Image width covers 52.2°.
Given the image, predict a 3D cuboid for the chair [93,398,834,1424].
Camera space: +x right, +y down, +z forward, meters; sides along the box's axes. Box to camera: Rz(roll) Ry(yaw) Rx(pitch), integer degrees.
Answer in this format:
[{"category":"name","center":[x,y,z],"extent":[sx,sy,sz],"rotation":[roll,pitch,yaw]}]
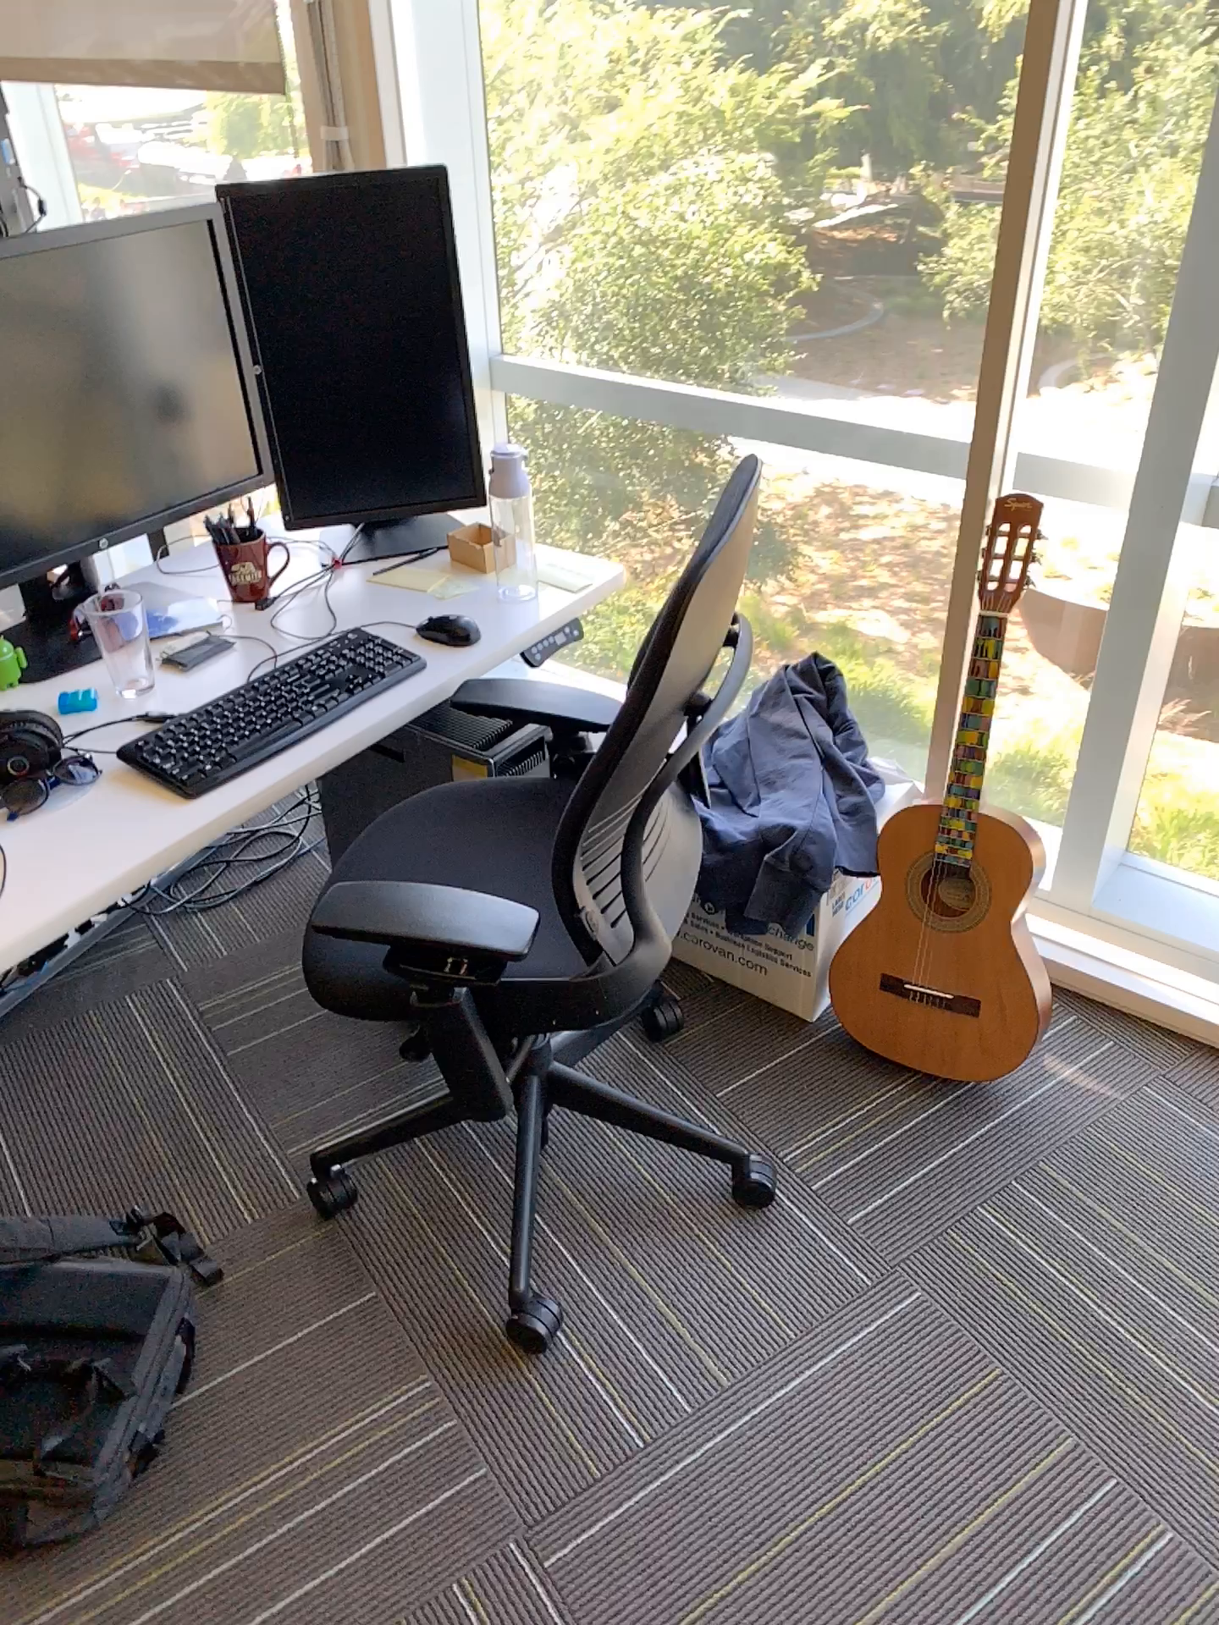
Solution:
[{"category":"chair","center":[-0.082,0.138,1.759],"extent":[0.690,1.223,0.714],"rotation":[3,34,7]}]
